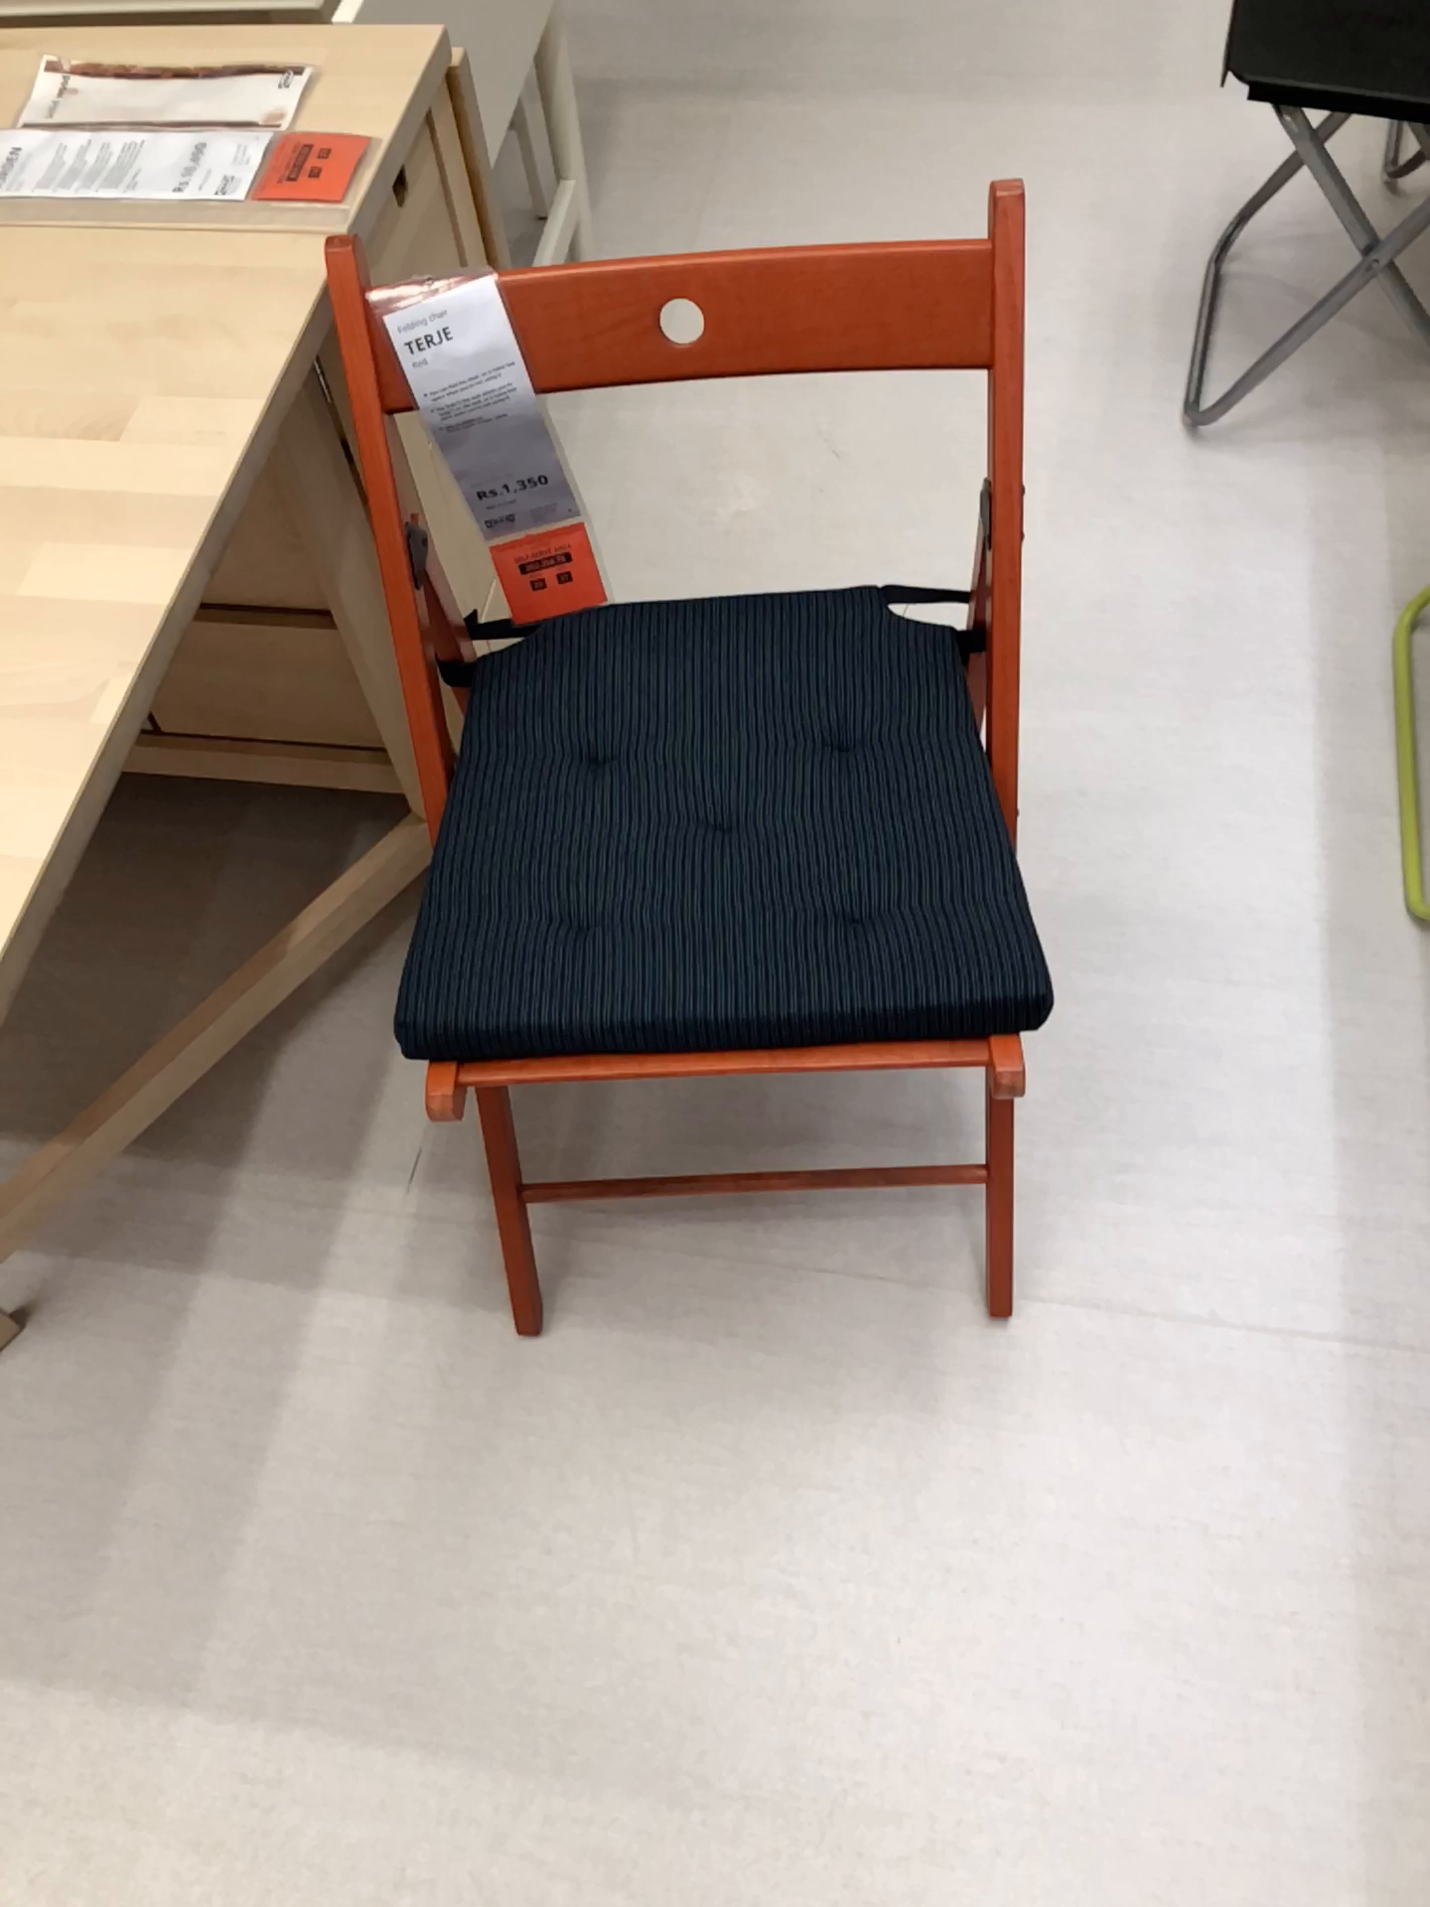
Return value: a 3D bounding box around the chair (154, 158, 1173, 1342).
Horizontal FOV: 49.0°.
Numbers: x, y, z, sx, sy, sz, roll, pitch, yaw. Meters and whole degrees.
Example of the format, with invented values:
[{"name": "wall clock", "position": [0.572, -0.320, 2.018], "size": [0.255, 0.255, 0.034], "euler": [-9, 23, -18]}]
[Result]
[{"name": "chair", "position": [0.003, -0.082, 1.156], "size": [0.470, 0.717, 0.502], "euler": [-2, 57, 4]}]
